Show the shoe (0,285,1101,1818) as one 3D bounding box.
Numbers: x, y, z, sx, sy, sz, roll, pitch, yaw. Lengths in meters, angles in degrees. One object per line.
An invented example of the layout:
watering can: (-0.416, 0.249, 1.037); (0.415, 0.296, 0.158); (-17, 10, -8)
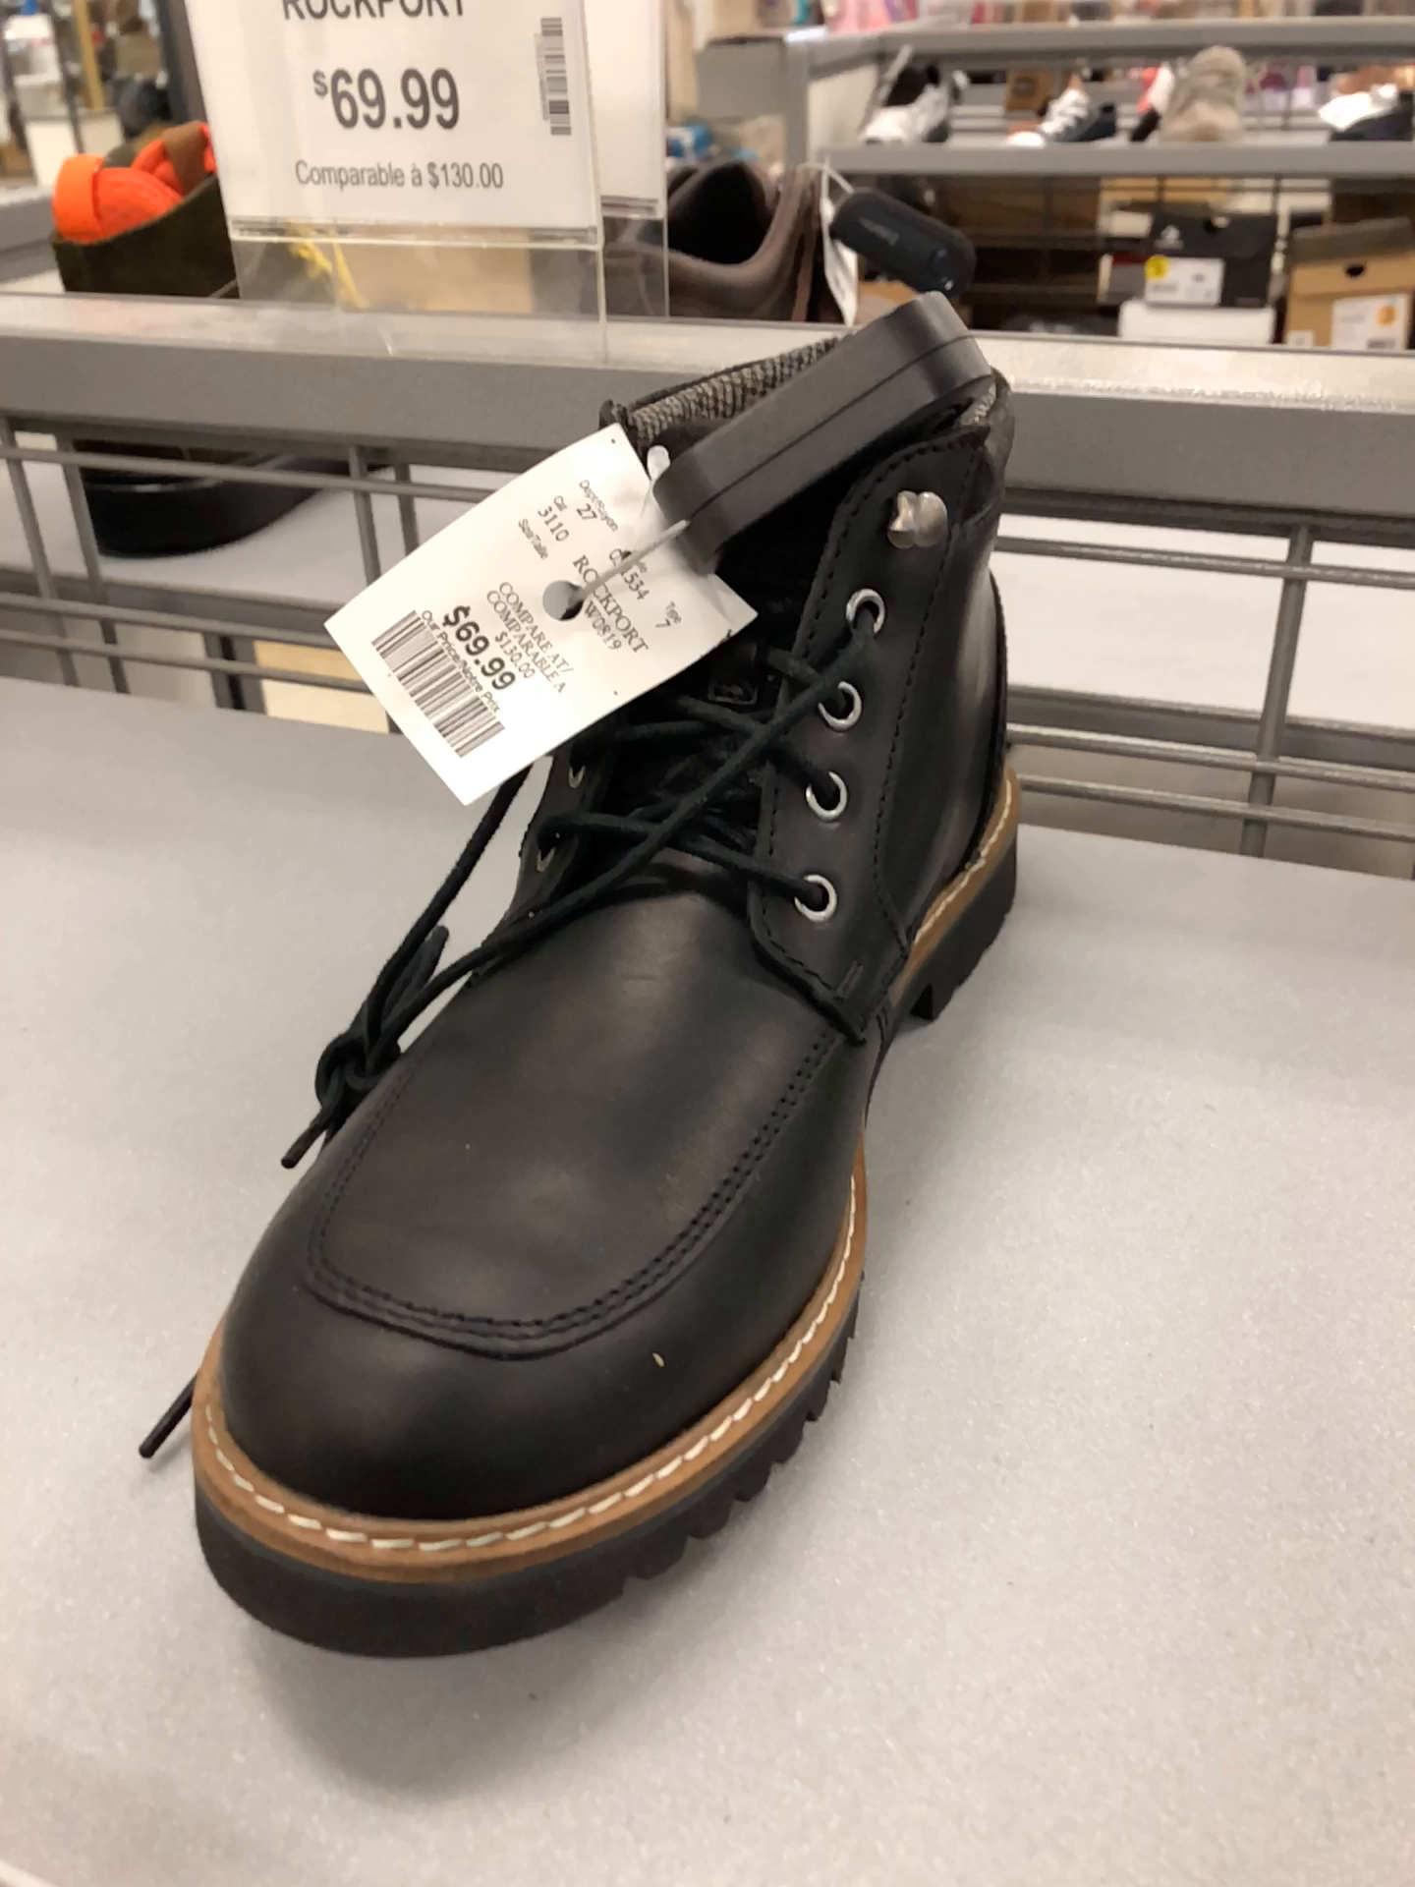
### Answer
shoe: (-0.011, -0.020, 0.310); (0.120, 0.139, 0.282); (9, 38, 18)
